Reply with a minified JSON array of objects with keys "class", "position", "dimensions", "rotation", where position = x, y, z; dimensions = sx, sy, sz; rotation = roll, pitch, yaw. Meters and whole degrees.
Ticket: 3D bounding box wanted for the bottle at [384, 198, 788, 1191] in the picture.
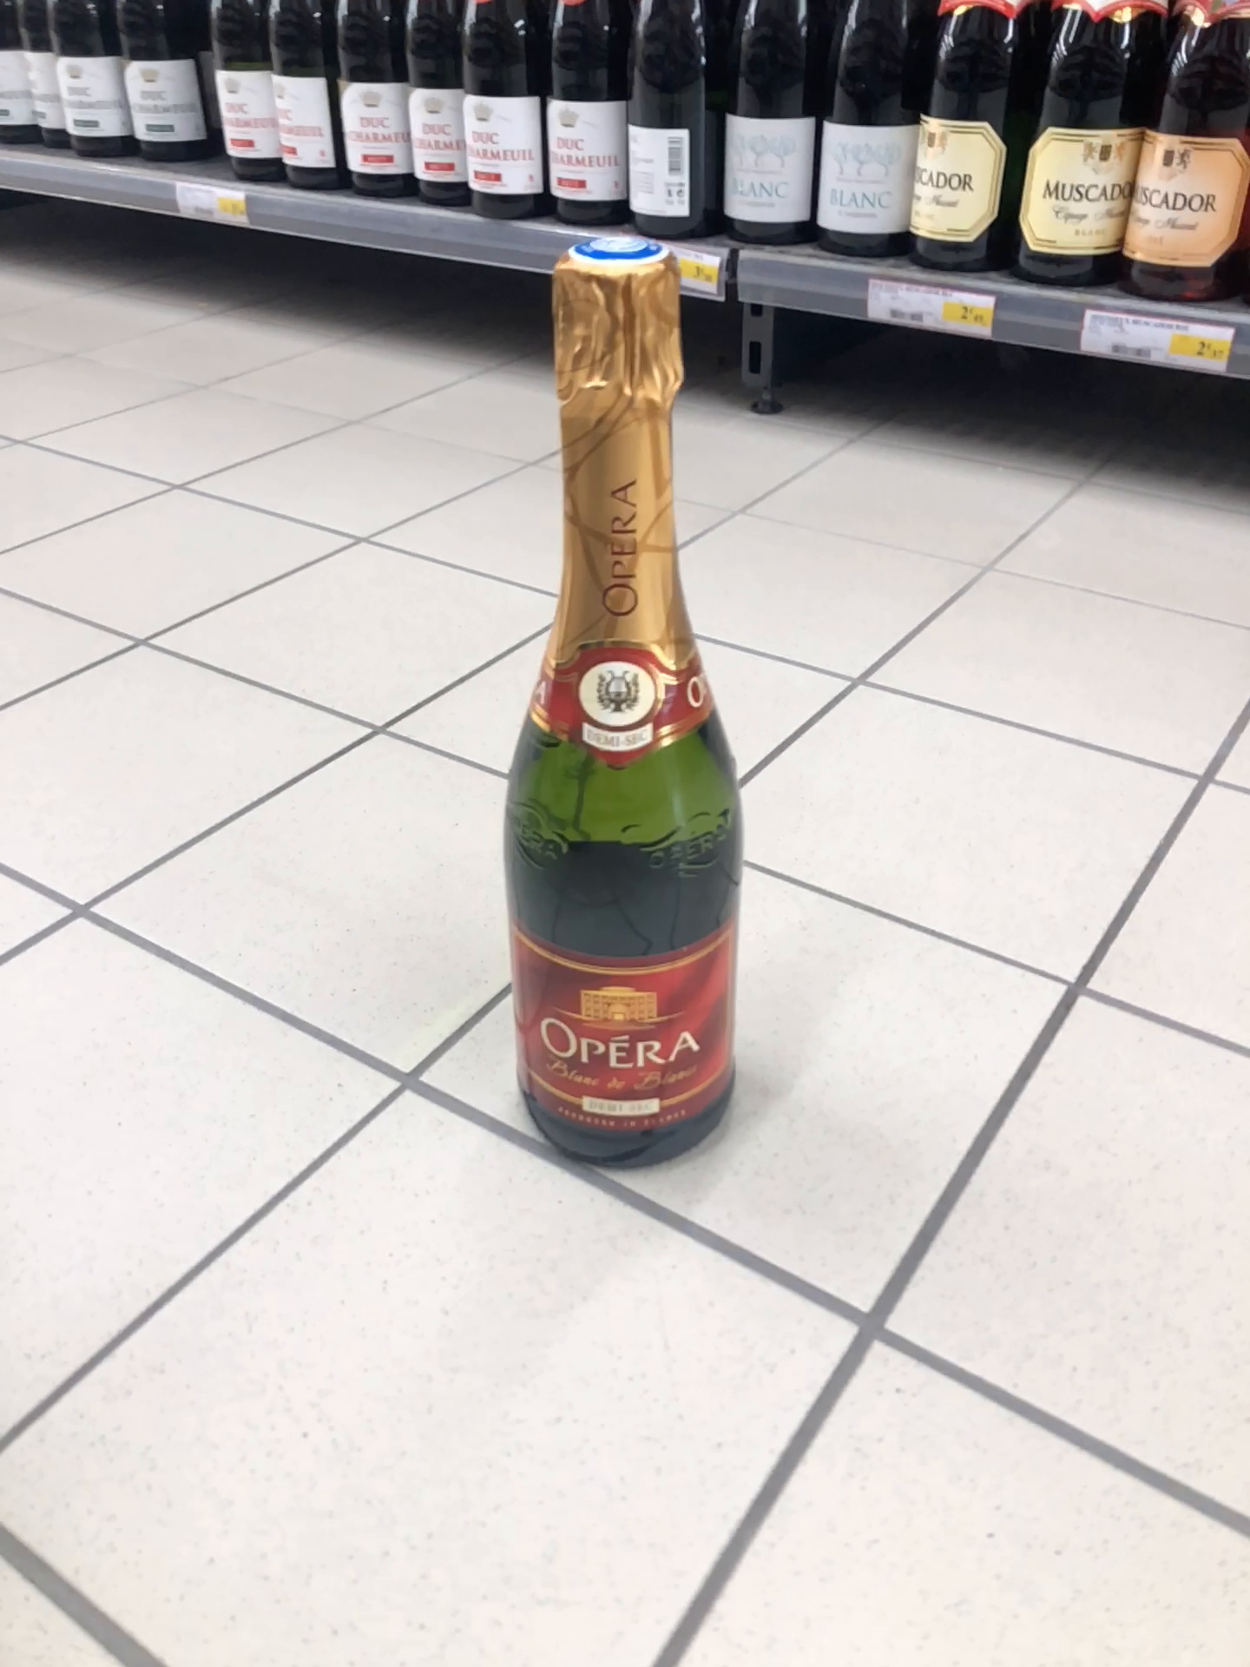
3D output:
[{"class":"bottle","position":[-0.004,-0.031,0.433],"dimensions":[0.090,0.298,0.091],"rotation":[0,32,0]}]
